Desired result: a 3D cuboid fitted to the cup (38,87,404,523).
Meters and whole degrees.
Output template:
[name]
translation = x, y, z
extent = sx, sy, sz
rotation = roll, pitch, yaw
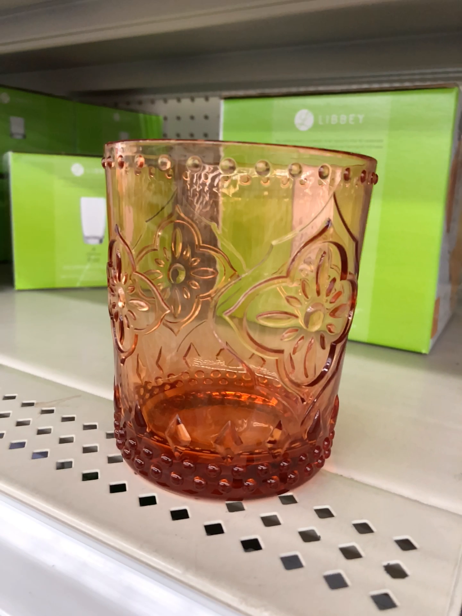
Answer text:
[cup]
translation = -0.001, -0.007, 0.176
extent = 0.090, 0.110, 0.080
rotation = 5, 12, 8
